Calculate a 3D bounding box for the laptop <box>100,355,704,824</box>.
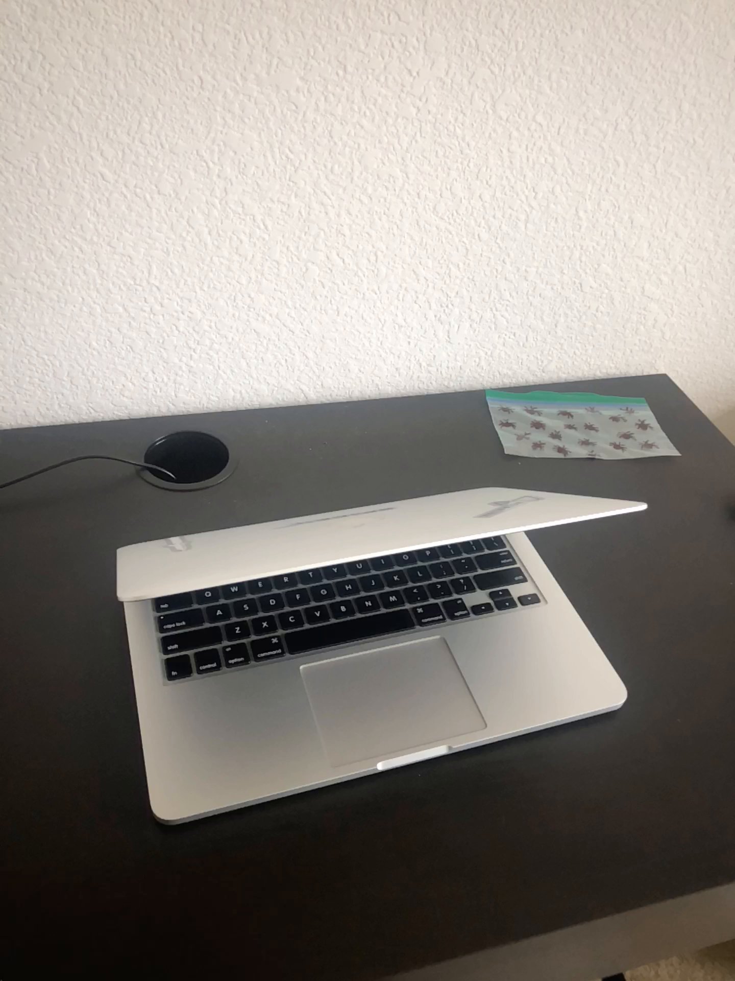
[{"bbox_3d":[0.002,0.041,0.529,0.309,0.133,0.225,-8,42,-16],"label":"laptop"}]
